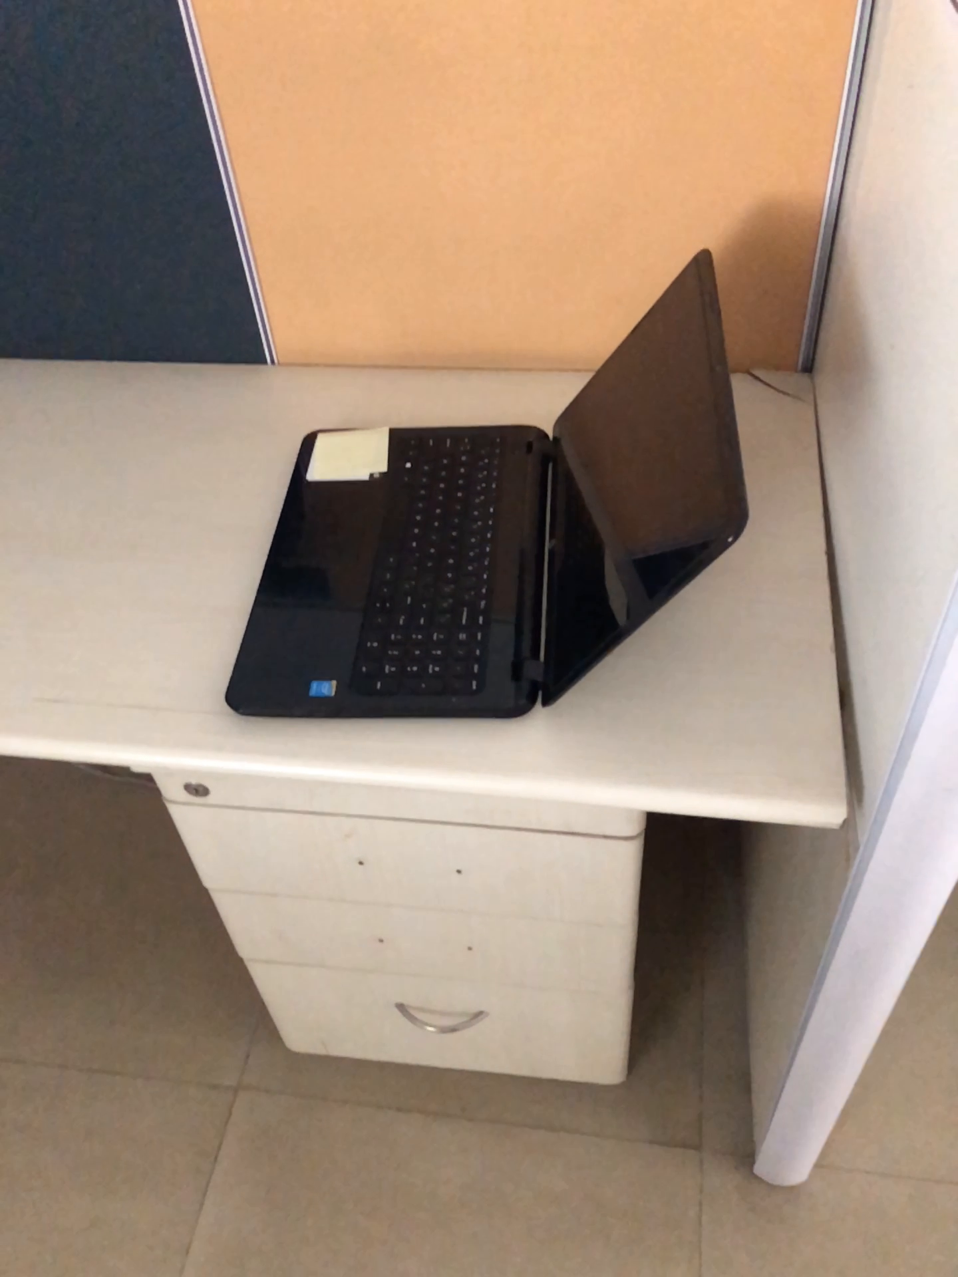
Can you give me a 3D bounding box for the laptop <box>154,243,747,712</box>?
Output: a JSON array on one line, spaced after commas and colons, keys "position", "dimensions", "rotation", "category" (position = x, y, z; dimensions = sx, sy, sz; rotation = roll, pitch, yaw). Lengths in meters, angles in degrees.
[{"position": [-0.002, -0.156, 0.937], "dimensions": [0.416, 0.204, 0.393], "rotation": [1, 47, 6], "category": "laptop"}]
